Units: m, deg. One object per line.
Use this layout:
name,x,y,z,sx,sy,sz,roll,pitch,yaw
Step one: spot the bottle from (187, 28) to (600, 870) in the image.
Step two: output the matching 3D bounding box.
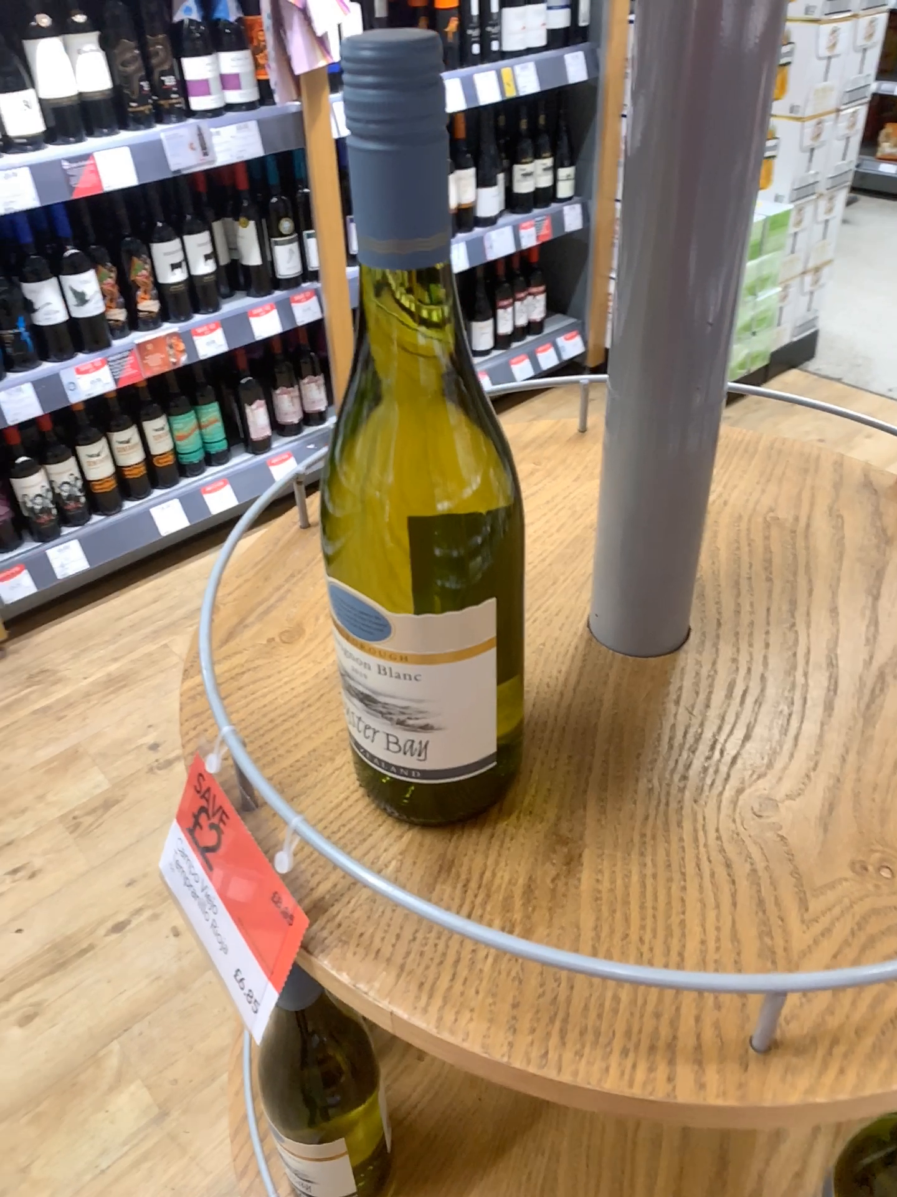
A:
bottle,-0.010,-0.037,0.335,0.080,0.284,0.080,-2,37,1
